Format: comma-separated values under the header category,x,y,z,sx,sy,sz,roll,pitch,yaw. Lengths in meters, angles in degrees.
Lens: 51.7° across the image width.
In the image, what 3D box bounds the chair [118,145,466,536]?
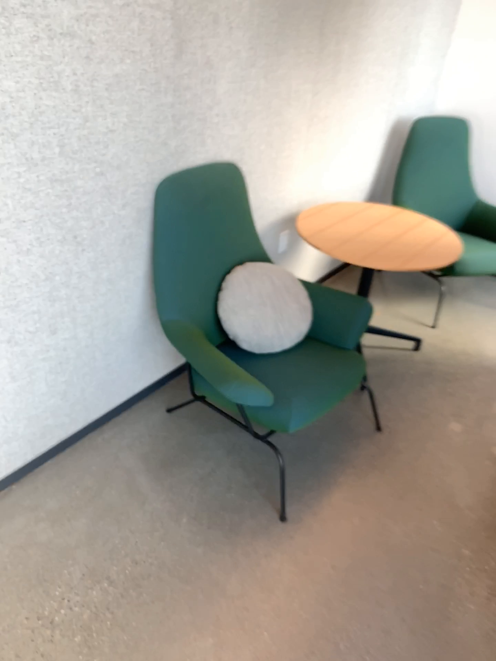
category,x,y,z,sx,sy,sz,roll,pitch,yaw
chair,0.122,-0.038,2.018,0.853,1.034,0.833,30,41,32

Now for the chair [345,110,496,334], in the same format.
category,x,y,z,sx,sy,sz,roll,pitch,yaw
chair,1.261,-0.701,3.077,0.820,0.954,1.006,-7,36,-17
